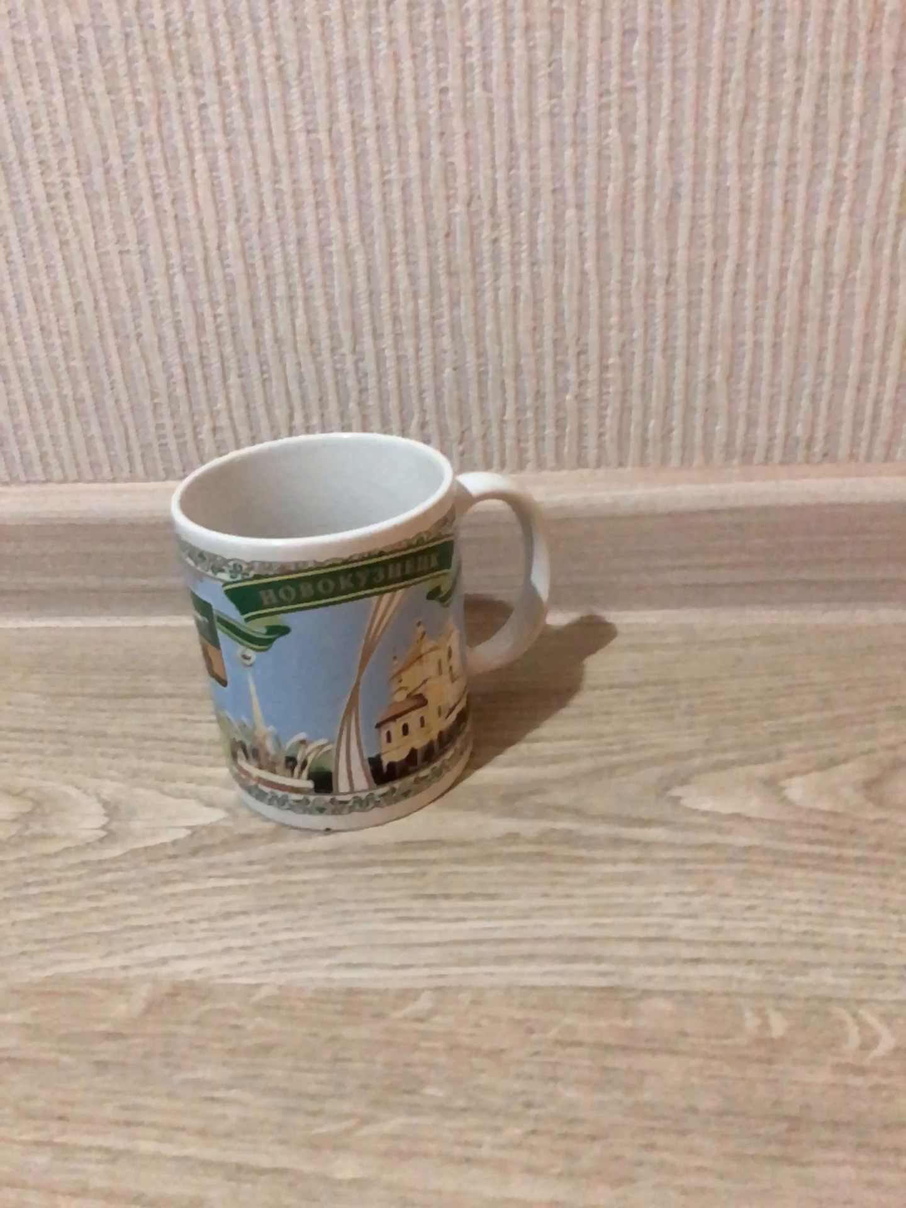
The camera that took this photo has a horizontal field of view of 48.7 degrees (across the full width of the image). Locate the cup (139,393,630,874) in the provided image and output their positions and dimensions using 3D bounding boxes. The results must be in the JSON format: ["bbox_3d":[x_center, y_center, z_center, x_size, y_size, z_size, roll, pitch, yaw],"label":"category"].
[{"bbox_3d":[-0.020,0.001,0.311,0.121,0.096,0.082,-15,29,-20],"label":"cup"}]
